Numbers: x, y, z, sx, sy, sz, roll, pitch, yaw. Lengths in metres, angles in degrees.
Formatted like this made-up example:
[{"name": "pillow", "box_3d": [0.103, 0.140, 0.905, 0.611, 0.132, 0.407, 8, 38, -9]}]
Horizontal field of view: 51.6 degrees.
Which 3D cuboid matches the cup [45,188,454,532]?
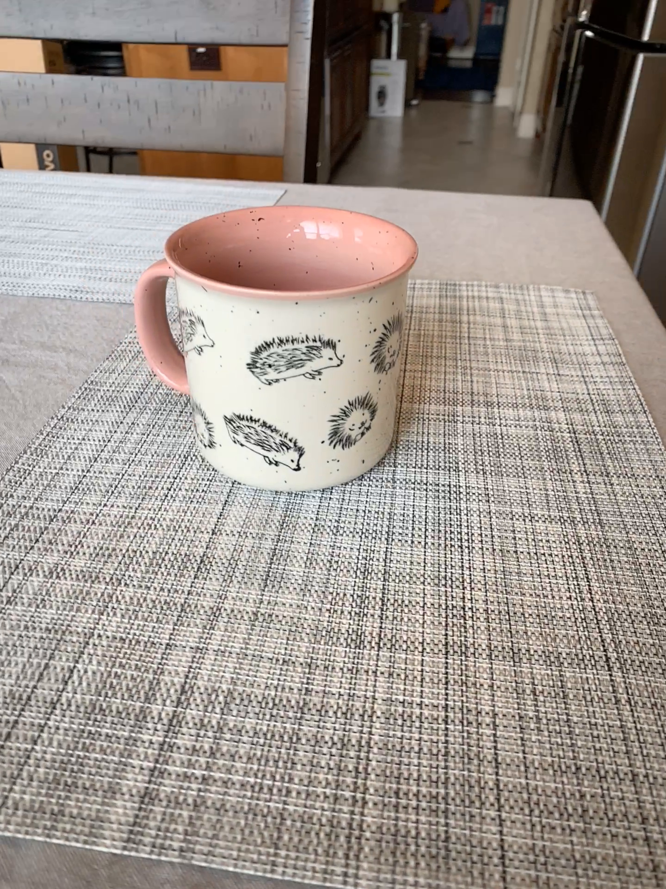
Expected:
[{"name": "cup", "box_3d": [-0.028, -0.050, 0.339, 0.150, 0.106, 0.121, 9, 36, 12]}]
